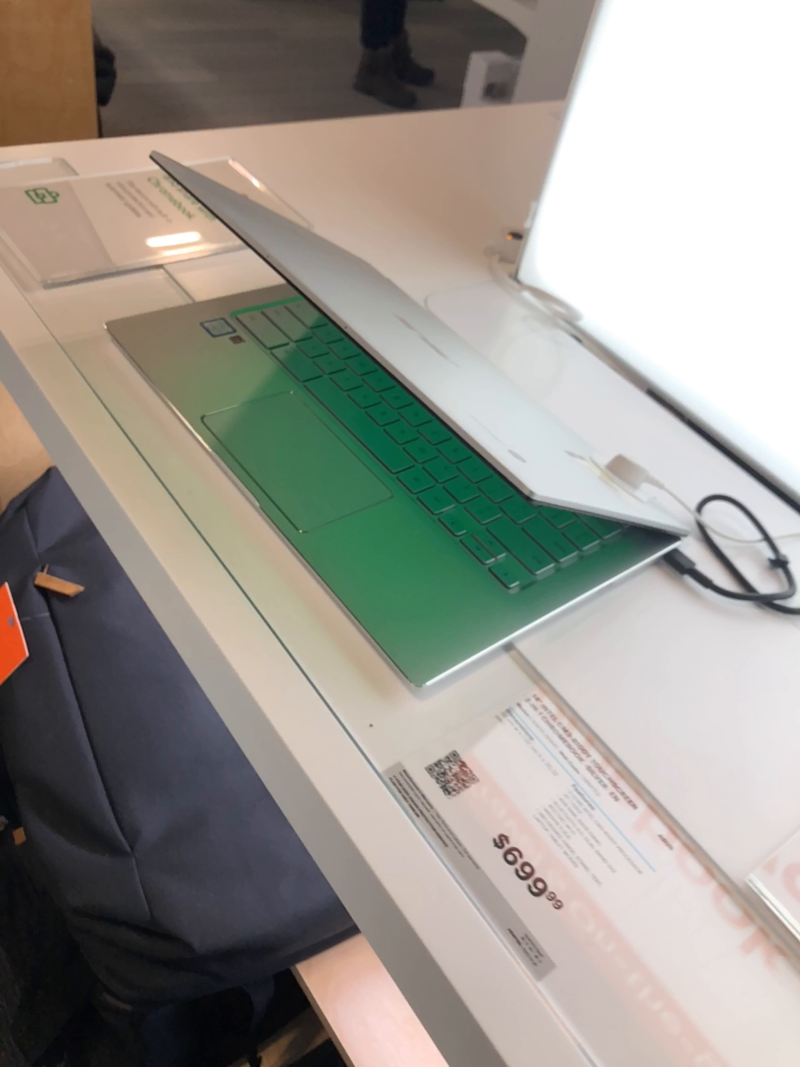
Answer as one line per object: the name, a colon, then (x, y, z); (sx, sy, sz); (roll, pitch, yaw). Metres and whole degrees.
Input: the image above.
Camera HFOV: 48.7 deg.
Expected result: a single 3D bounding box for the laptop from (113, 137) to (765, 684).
laptop: (0.000, -0.098, 0.489); (0.193, 0.102, 0.312); (-22, 53, -32)
